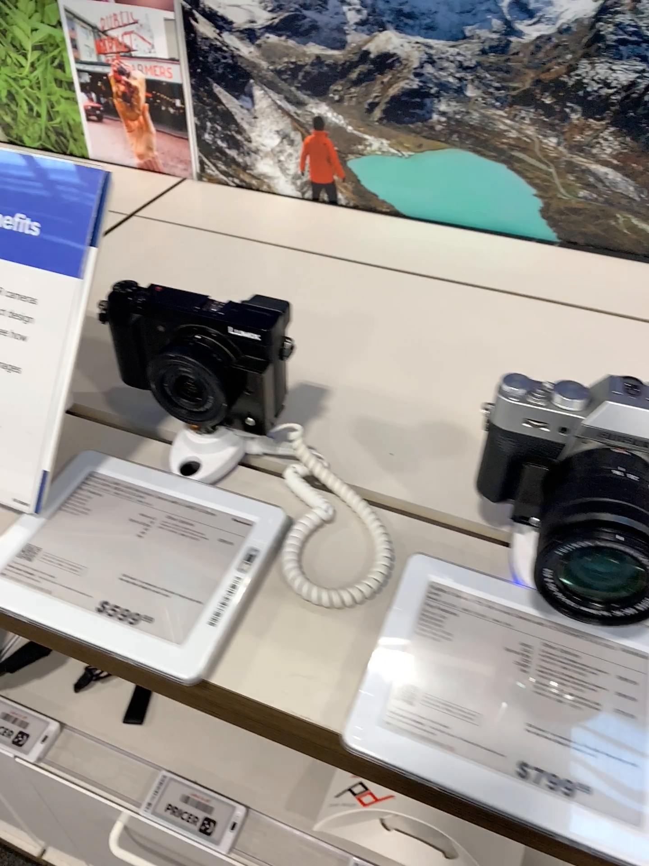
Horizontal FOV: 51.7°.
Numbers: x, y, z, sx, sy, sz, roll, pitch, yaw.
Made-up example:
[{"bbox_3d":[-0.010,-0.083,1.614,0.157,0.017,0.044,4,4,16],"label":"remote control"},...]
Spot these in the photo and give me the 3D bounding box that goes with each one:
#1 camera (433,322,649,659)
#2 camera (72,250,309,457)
[{"bbox_3d":[0.133,0.021,0.338,0.120,0.080,0.121,15,44,15],"label":"camera"},{"bbox_3d":[-0.078,-0.052,0.424,0.120,0.080,0.070,15,45,15],"label":"camera"}]
